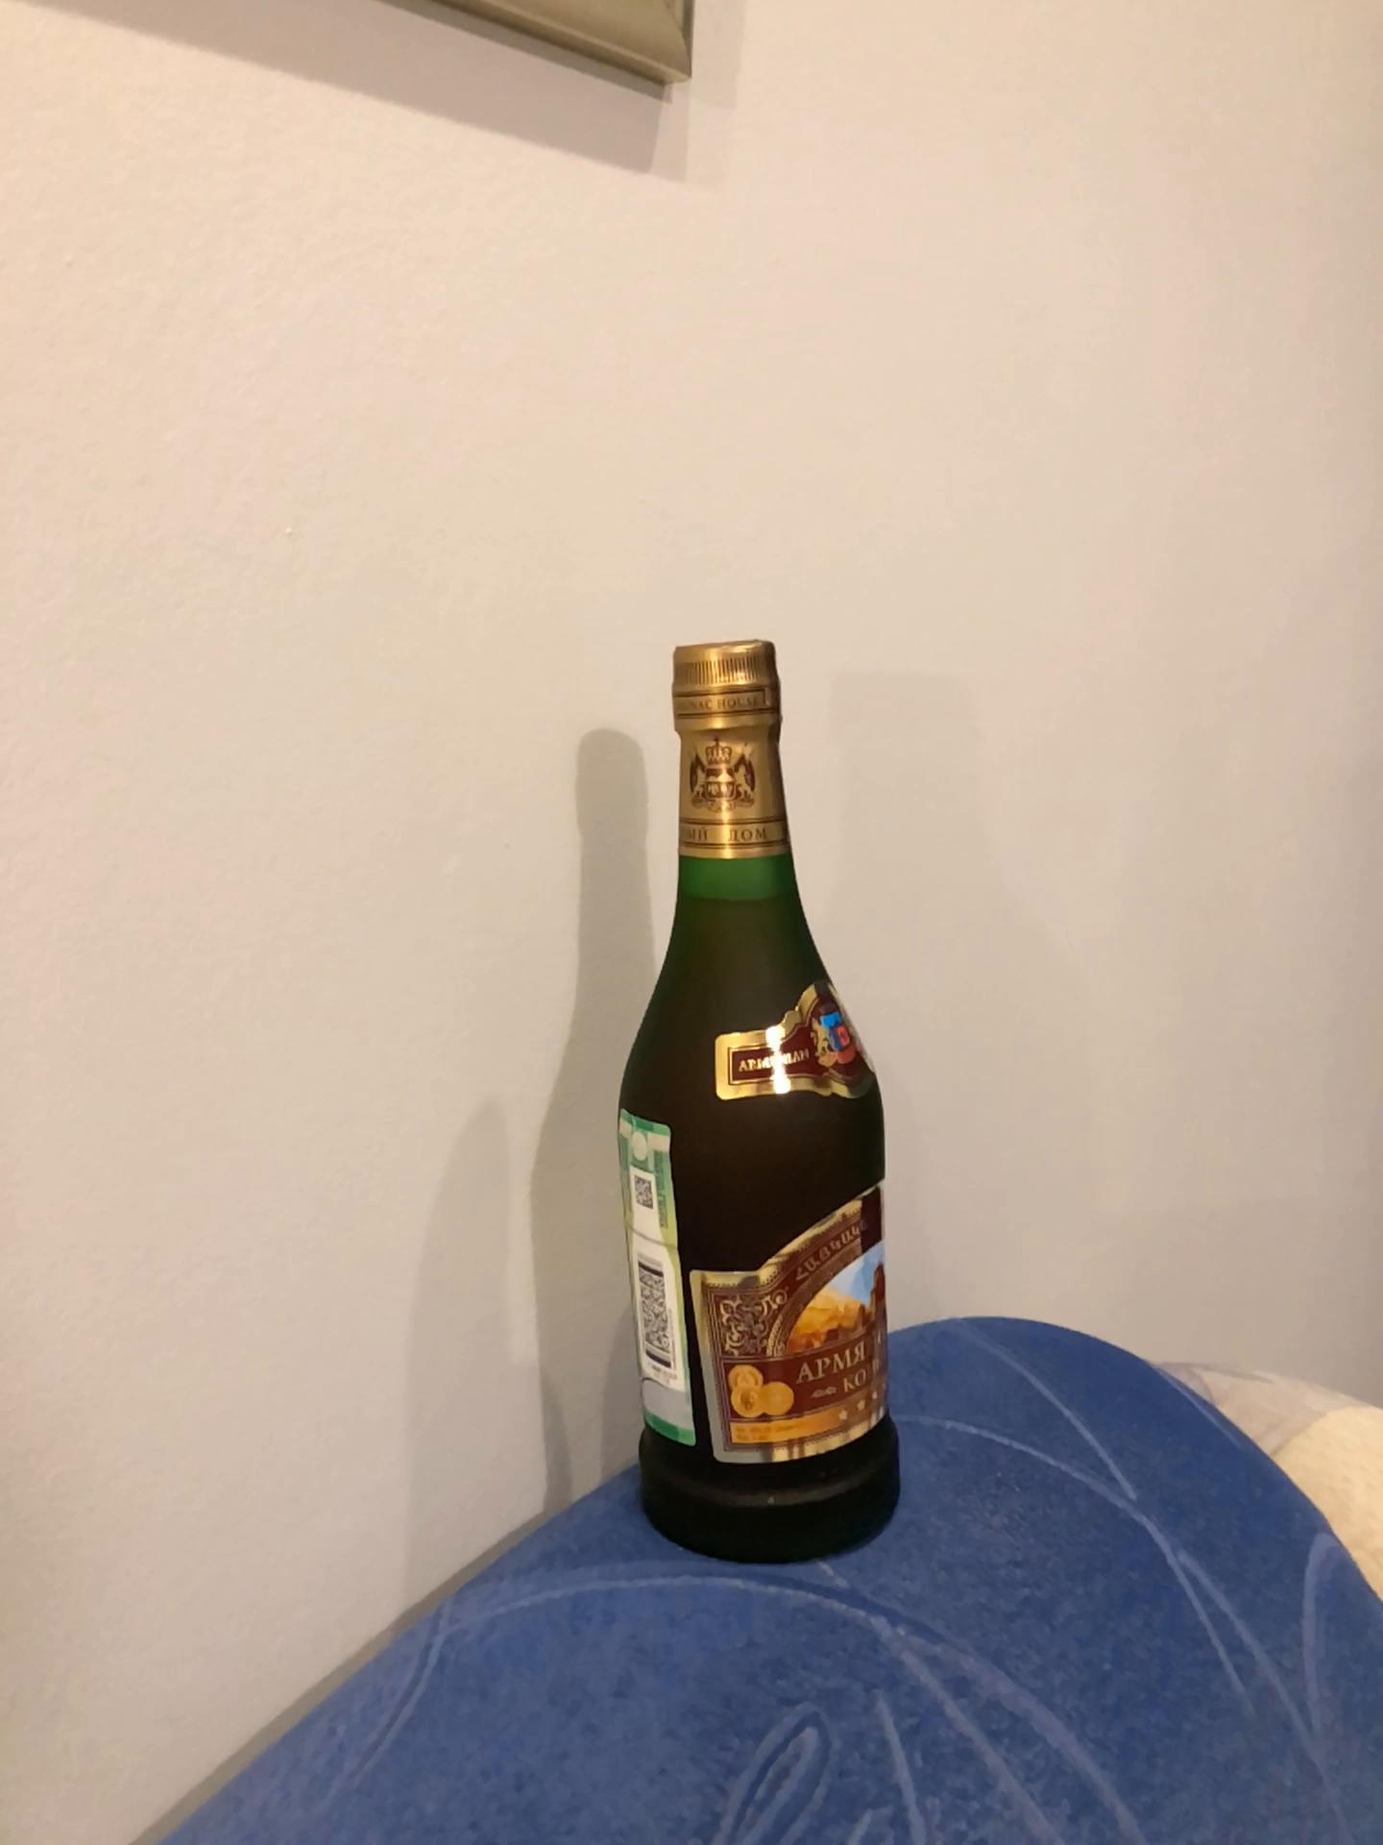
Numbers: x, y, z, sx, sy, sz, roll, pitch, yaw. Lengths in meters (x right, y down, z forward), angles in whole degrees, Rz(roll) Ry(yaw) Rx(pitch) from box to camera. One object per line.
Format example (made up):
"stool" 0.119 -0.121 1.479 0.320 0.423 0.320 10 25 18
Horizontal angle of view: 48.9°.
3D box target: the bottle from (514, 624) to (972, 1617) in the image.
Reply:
"bottle" 0.020 0.044 0.421 0.080 0.243 0.090 4 12 34
